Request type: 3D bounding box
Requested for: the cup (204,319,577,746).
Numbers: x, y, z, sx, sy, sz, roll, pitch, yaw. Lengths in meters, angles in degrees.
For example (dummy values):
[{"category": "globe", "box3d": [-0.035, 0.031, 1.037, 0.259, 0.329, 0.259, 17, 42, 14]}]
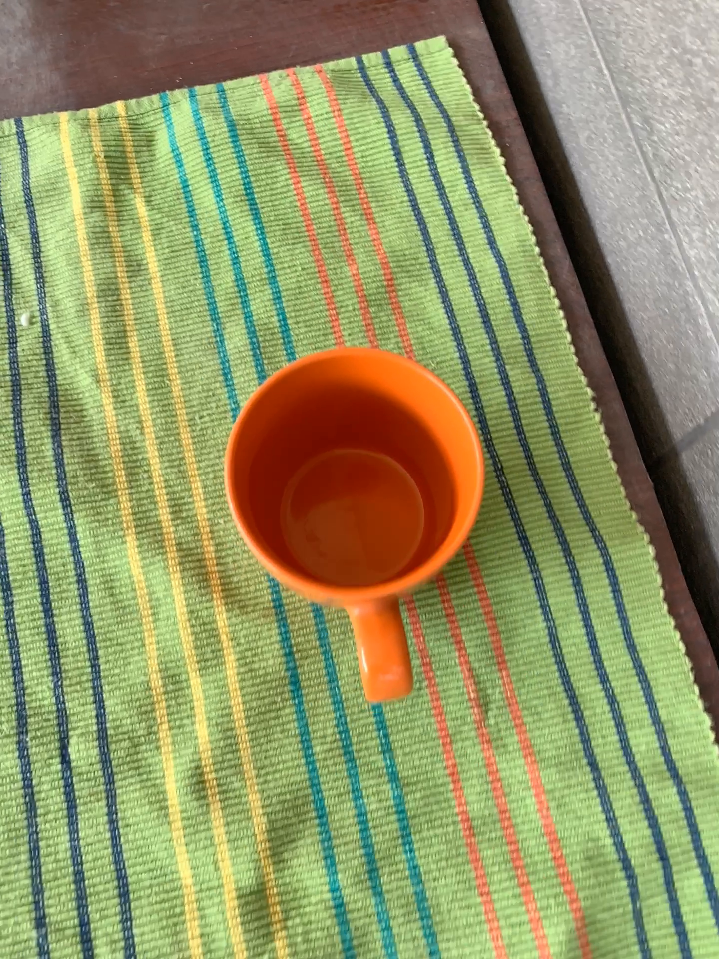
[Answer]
[{"category": "cup", "box3d": [0.005, 0.023, 0.270, 0.090, 0.080, 0.120, -13, 73, -6]}]
